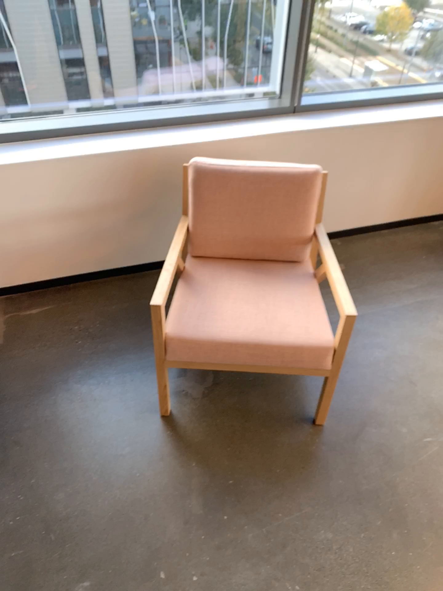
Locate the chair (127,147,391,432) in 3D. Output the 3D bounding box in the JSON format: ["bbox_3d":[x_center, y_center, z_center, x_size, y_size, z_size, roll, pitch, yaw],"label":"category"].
[{"bbox_3d":[0.114,-0.034,1.832,0.740,0.795,0.775,3,42,2],"label":"chair"}]

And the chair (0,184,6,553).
[{"bbox_3d":[-1.259,0.219,1.557,0.740,0.795,0.775,-11,45,-13],"label":"chair"}]
